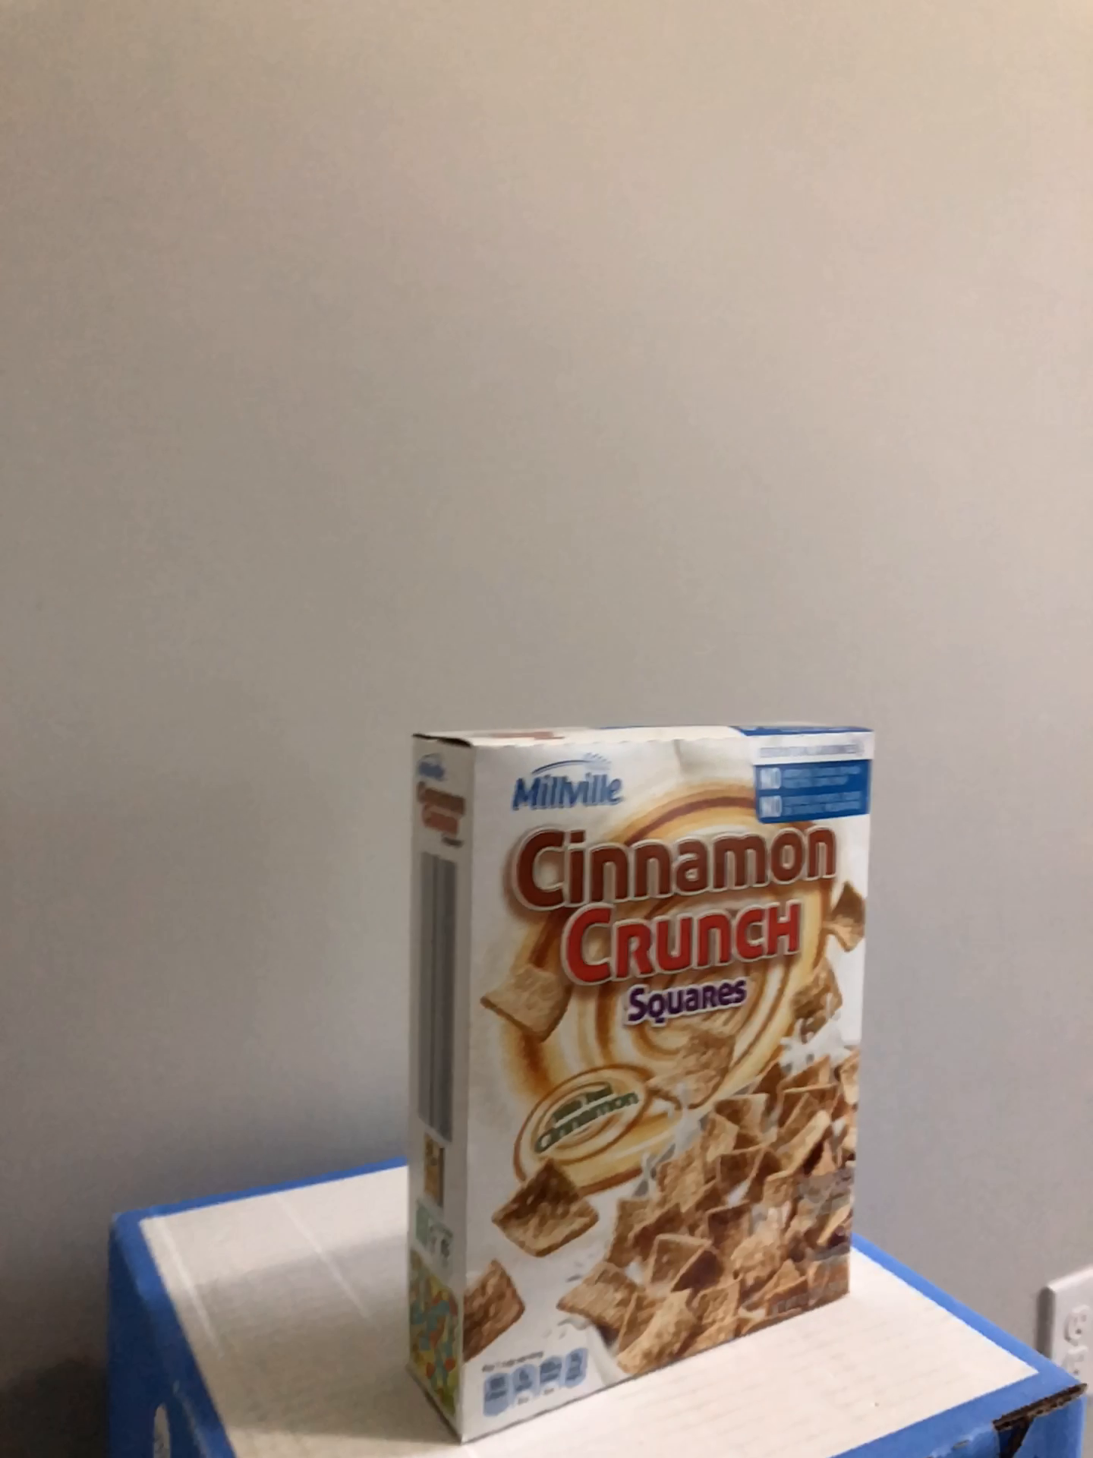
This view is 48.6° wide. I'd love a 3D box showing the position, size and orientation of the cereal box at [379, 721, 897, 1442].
[{"bbox_3d":[0.042,0.127,0.511,0.210,0.250,0.070,-2,5,-31],"label":"cereal box"}]
